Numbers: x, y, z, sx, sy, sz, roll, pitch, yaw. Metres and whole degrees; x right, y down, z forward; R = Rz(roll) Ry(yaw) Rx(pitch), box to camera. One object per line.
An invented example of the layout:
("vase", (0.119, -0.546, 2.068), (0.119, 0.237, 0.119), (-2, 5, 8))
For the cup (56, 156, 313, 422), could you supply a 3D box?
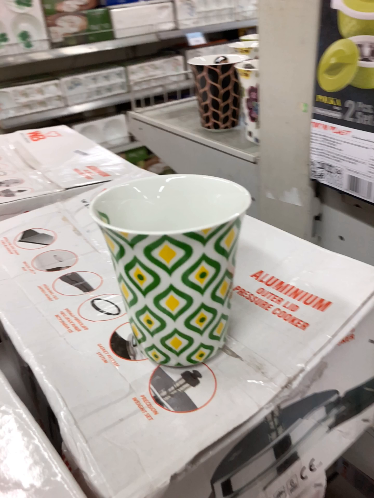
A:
("cup", (-0.006, 0.010, 0.242), (0.090, 0.089, 0.110), (-19, 33, -30))
